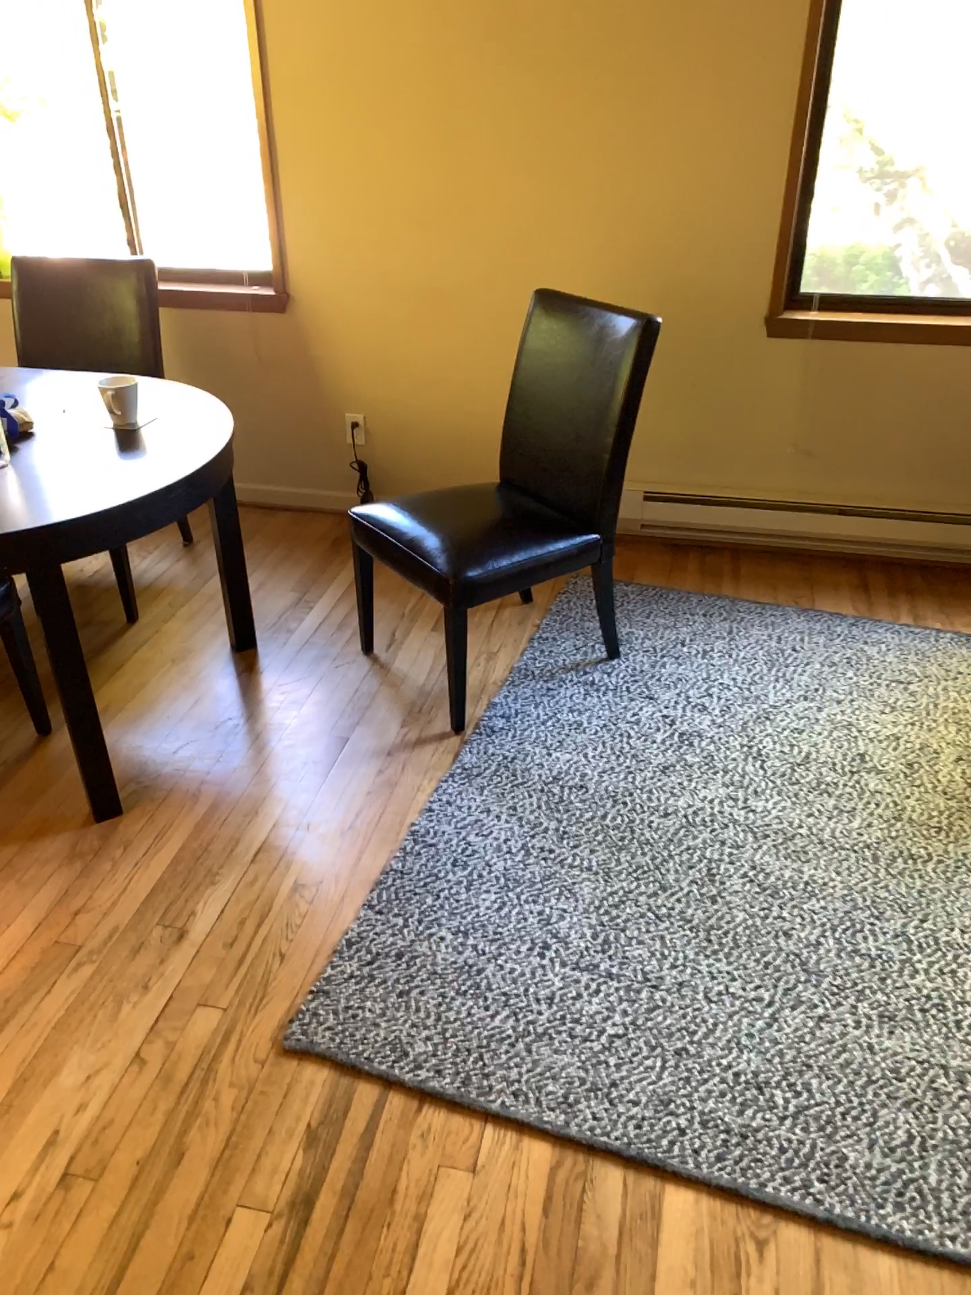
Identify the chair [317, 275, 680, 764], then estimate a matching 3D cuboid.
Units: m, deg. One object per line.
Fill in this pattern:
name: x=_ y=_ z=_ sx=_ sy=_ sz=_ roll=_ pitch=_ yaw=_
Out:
chair: x=0.031 y=-0.368 z=2.636 sx=0.671 sy=1.034 sz=0.563 roll=-21 pitch=36 yaw=-31
